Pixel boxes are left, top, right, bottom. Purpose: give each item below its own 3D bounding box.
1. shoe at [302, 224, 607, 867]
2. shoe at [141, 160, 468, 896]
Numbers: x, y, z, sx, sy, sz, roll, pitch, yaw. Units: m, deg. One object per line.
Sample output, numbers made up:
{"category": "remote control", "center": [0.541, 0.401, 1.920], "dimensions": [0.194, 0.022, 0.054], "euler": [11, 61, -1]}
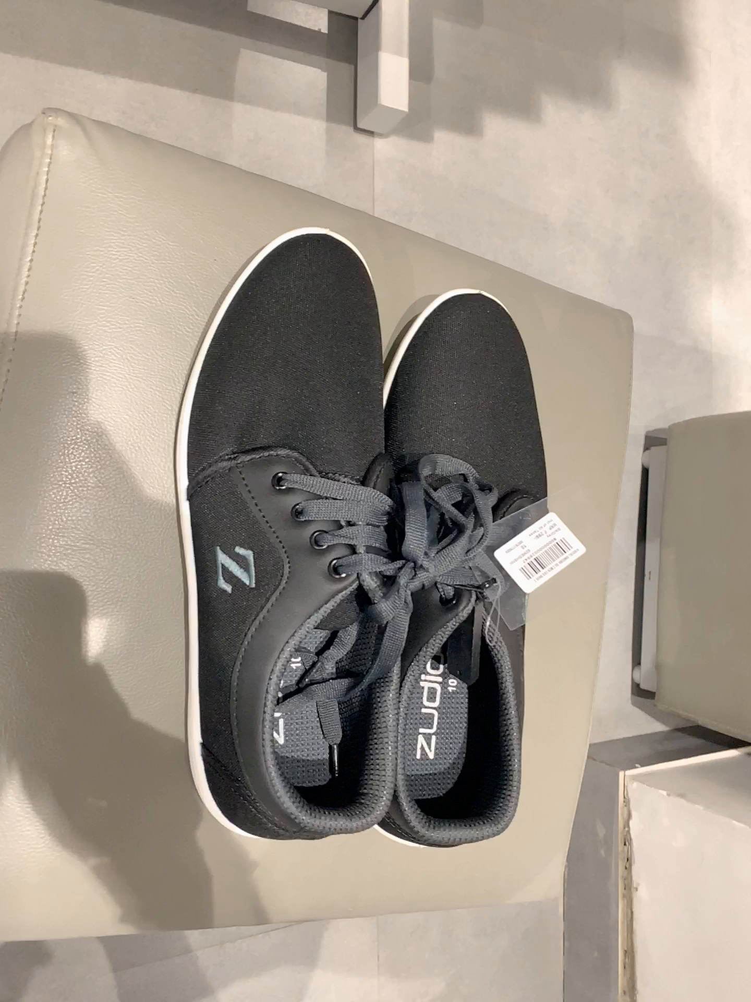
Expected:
{"category": "shoe", "center": [0.037, 0.023, 0.399], "dimensions": [0.100, 0.100, 0.280], "euler": [6, 87, -20]}
{"category": "shoe", "center": [-0.036, 0.012, 0.349], "dimensions": [0.100, 0.100, 0.270], "euler": [5, 88, -27]}
